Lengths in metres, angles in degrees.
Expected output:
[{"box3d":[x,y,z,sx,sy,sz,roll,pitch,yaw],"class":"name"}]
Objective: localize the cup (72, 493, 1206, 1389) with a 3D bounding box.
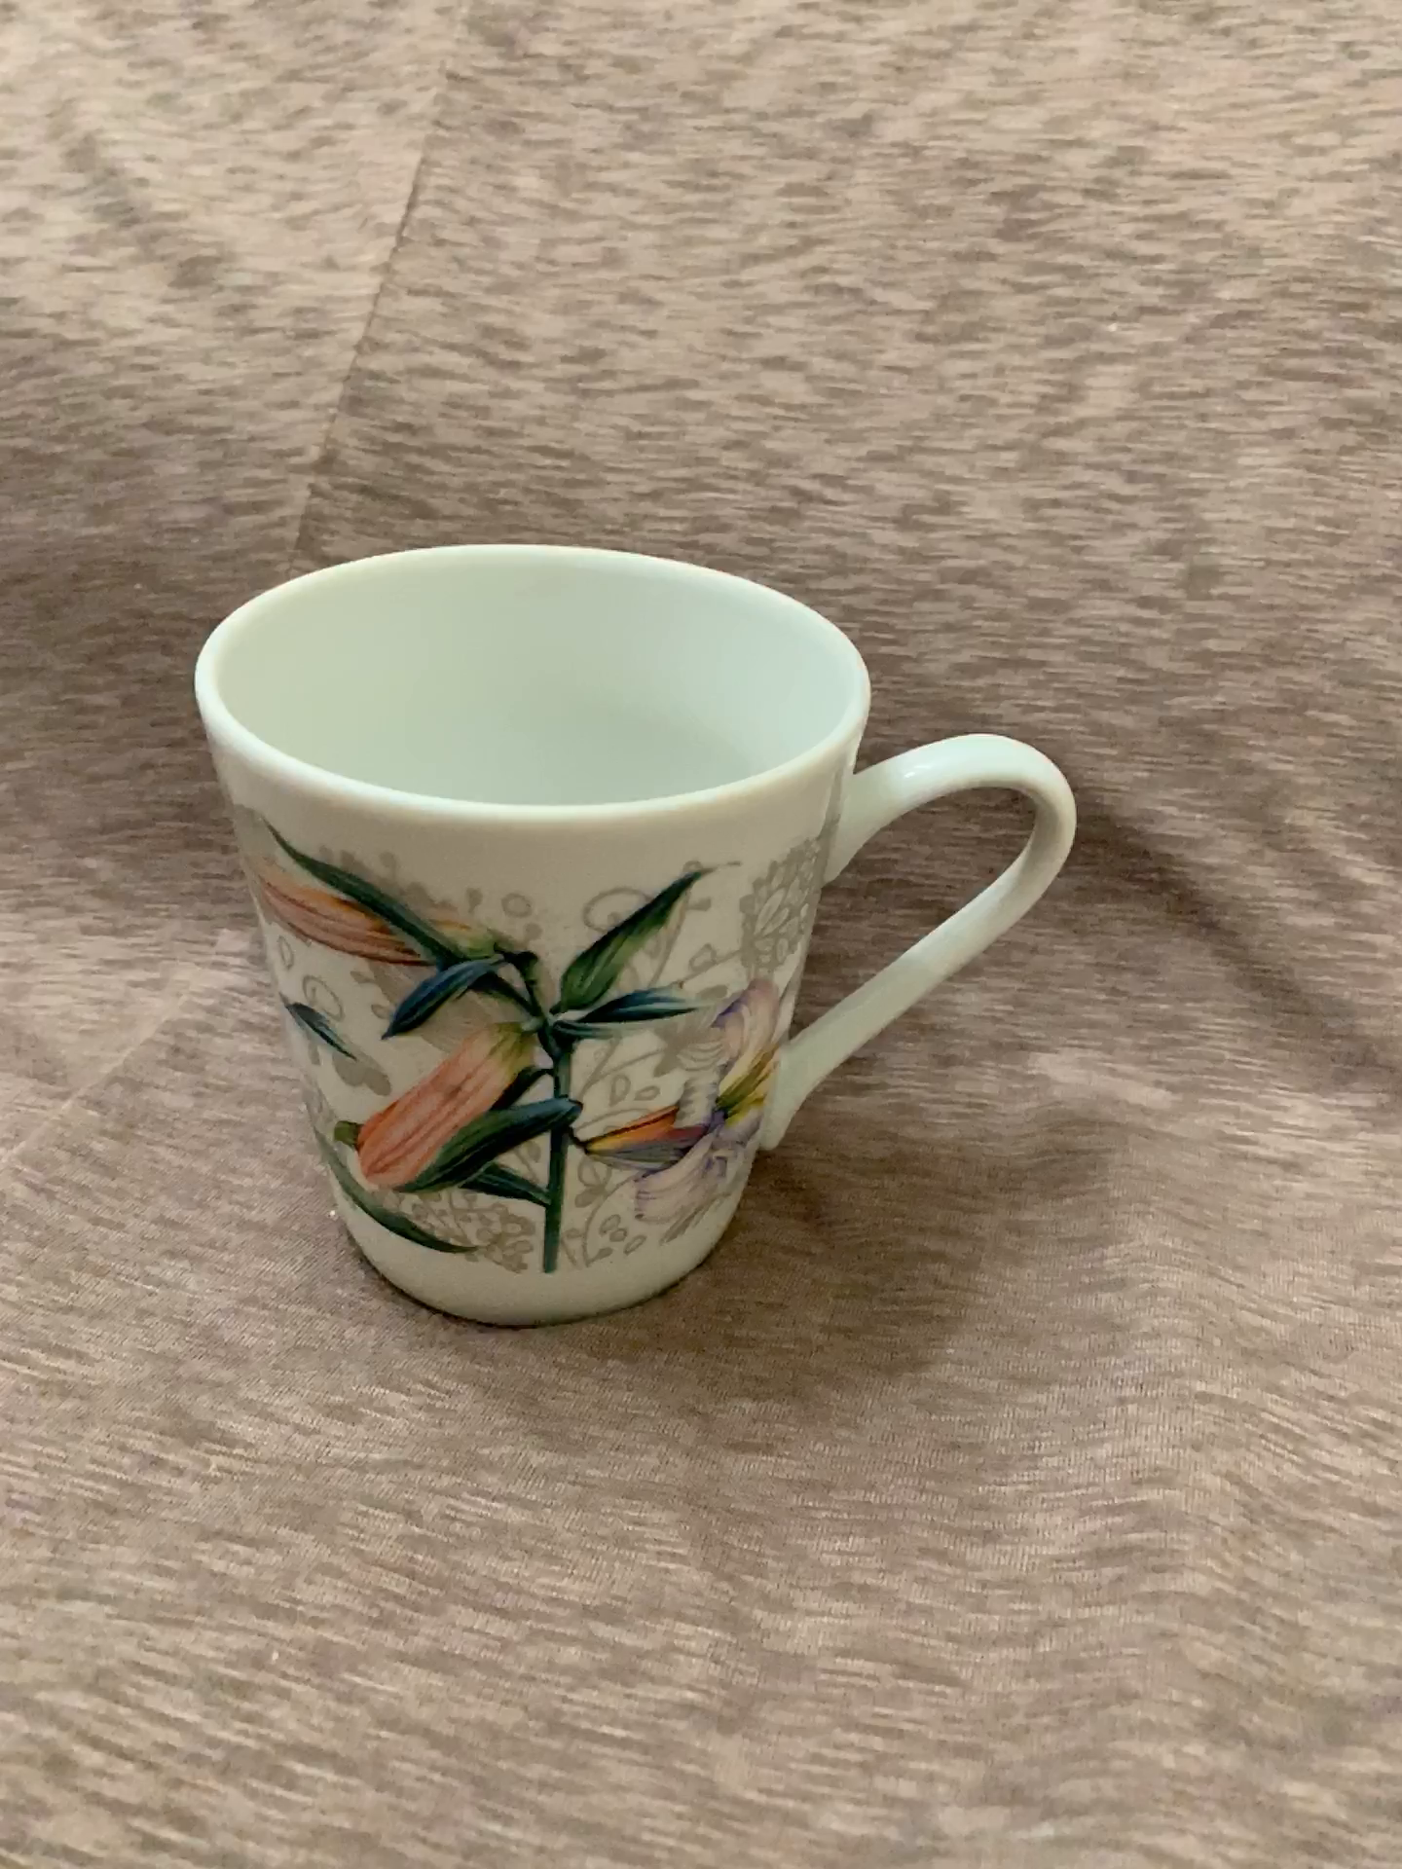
[{"box3d":[-0.003,-0.005,0.210,0.119,0.088,0.085,4,33,7],"class":"cup"}]
